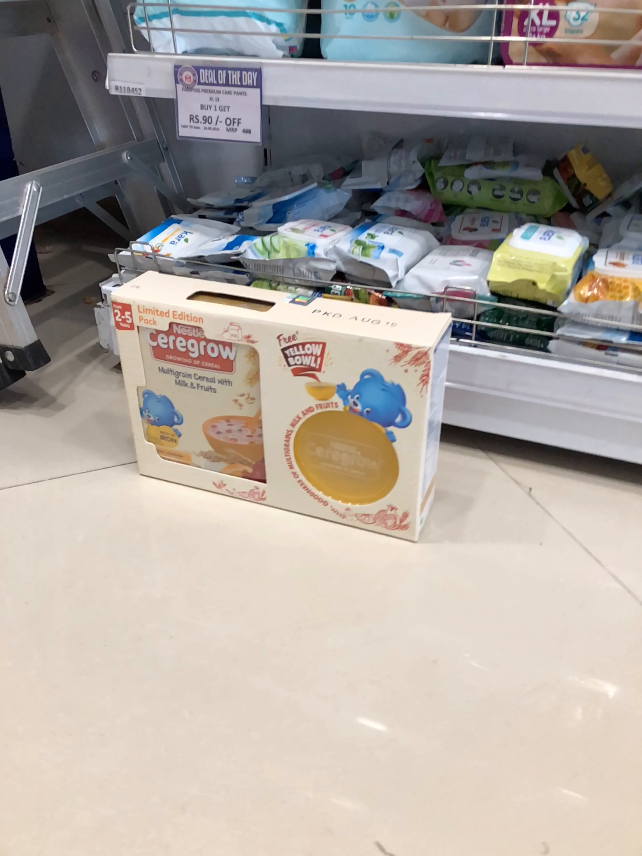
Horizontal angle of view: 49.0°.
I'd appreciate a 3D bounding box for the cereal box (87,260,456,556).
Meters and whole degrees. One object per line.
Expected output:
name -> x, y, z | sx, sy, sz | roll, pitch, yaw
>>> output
cereal box -> -0.046, -0.023, 0.646 | 0.310, 0.209, 0.070 | 12, 34, 19
